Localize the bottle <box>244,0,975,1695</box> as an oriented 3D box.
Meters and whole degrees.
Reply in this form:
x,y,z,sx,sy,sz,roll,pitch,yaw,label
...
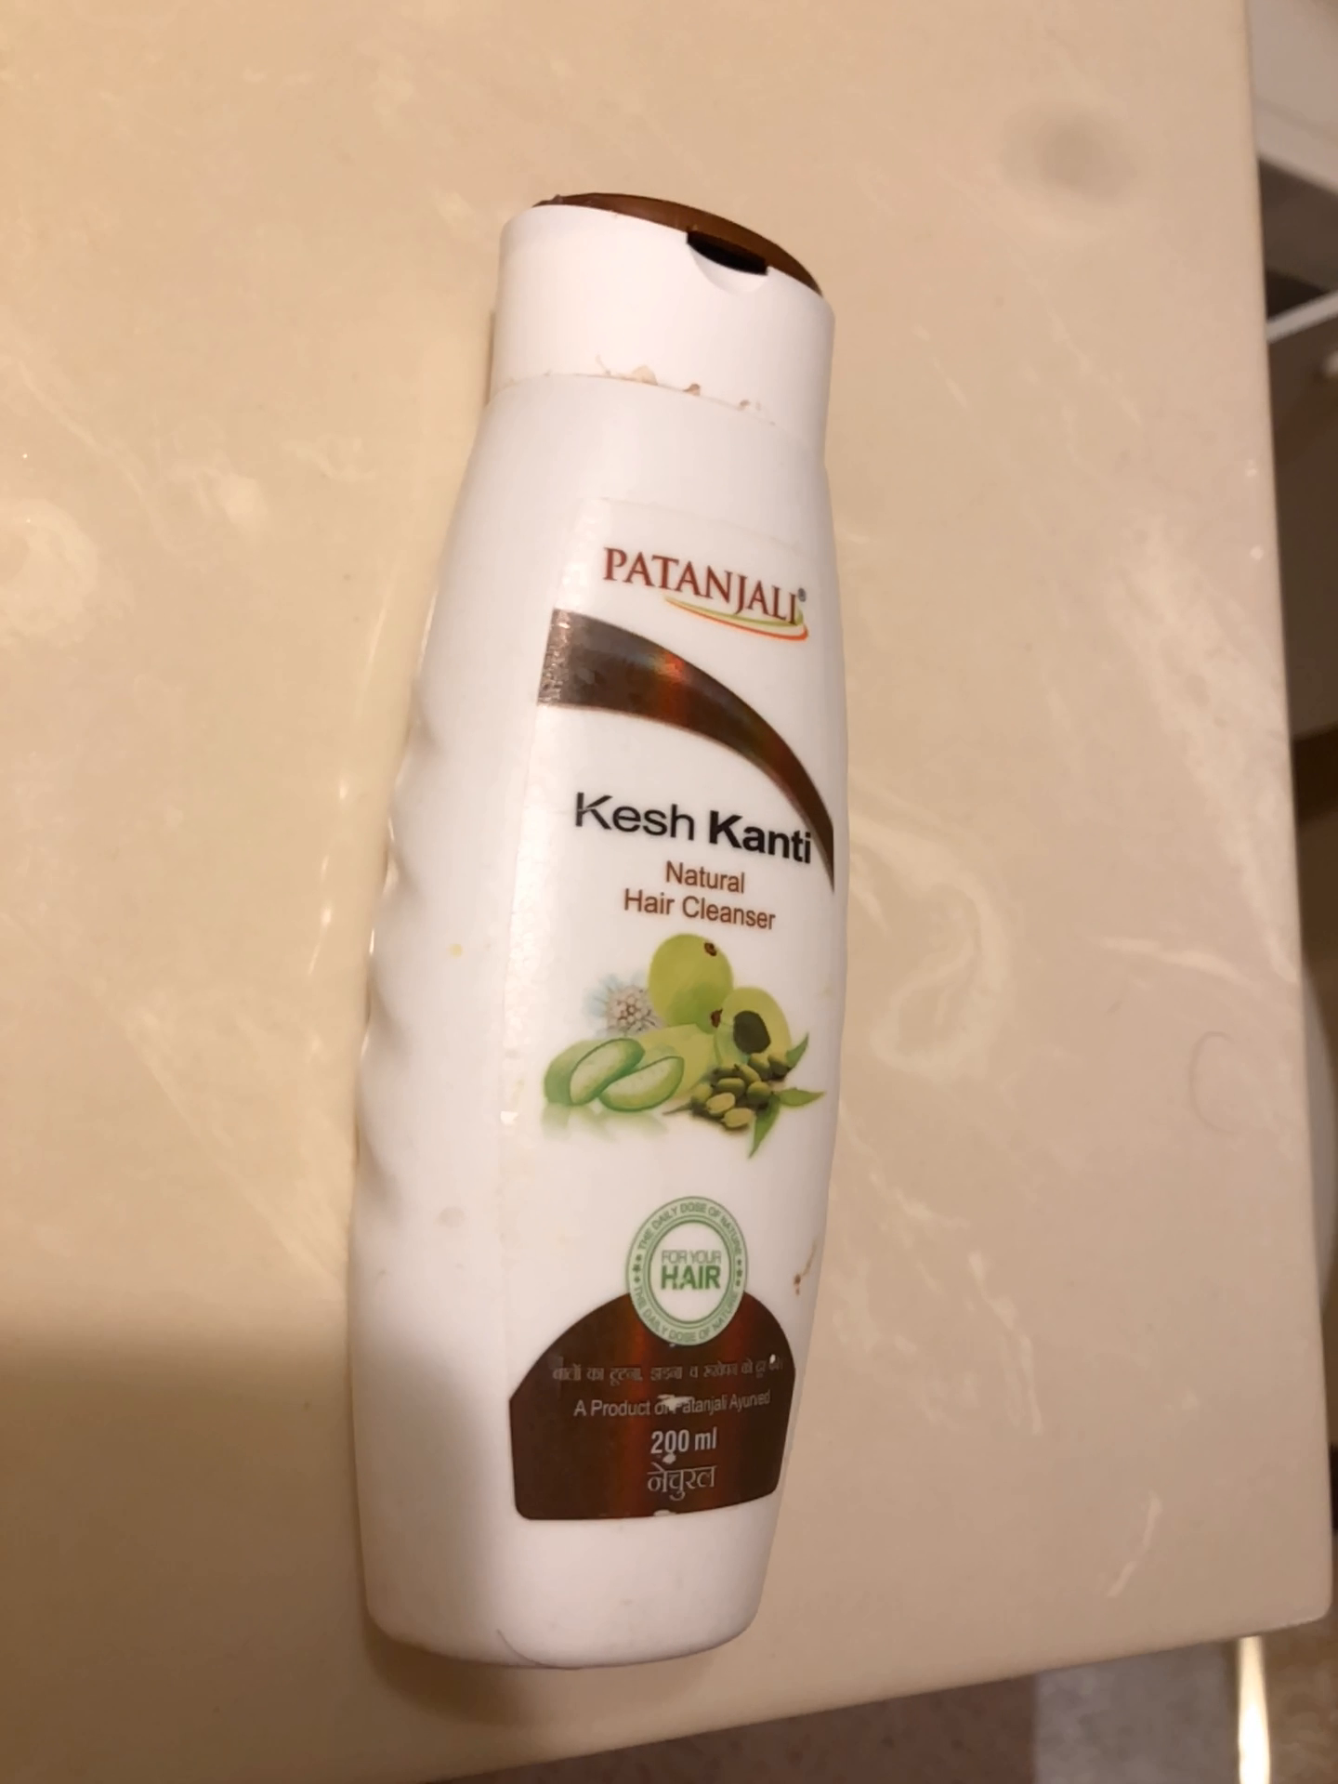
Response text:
x,y,z,sx,sy,sz,roll,pitch,yaw,label
-0.004,-0.010,0.200,0.070,0.040,0.200,9,78,-24,bottle
